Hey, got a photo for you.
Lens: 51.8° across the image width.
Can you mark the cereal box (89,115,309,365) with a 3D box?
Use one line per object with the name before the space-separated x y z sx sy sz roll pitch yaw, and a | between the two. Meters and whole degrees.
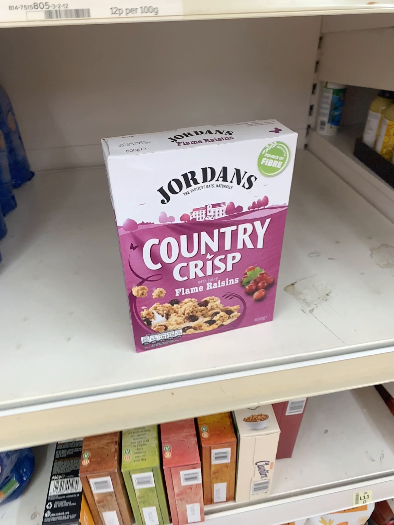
cereal box | 0.005 -0.016 0.454 0.200 0.258 0.050 -11 36 -14
